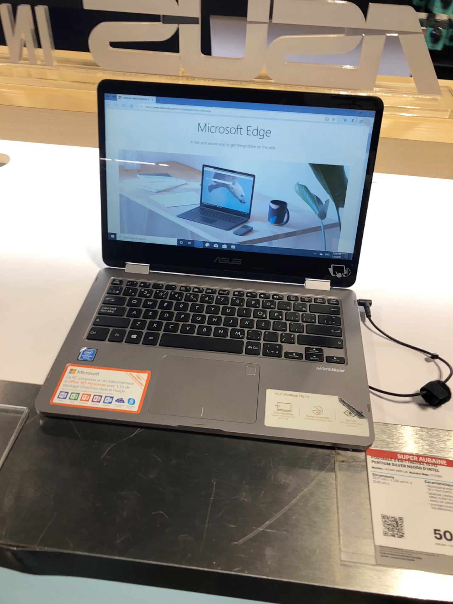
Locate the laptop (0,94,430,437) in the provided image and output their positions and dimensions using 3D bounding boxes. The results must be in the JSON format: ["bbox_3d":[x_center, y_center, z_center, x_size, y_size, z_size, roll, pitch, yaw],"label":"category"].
[{"bbox_3d":[-0.017,-0.056,0.496,0.304,0.212,0.279,5,38,5],"label":"laptop"}]
